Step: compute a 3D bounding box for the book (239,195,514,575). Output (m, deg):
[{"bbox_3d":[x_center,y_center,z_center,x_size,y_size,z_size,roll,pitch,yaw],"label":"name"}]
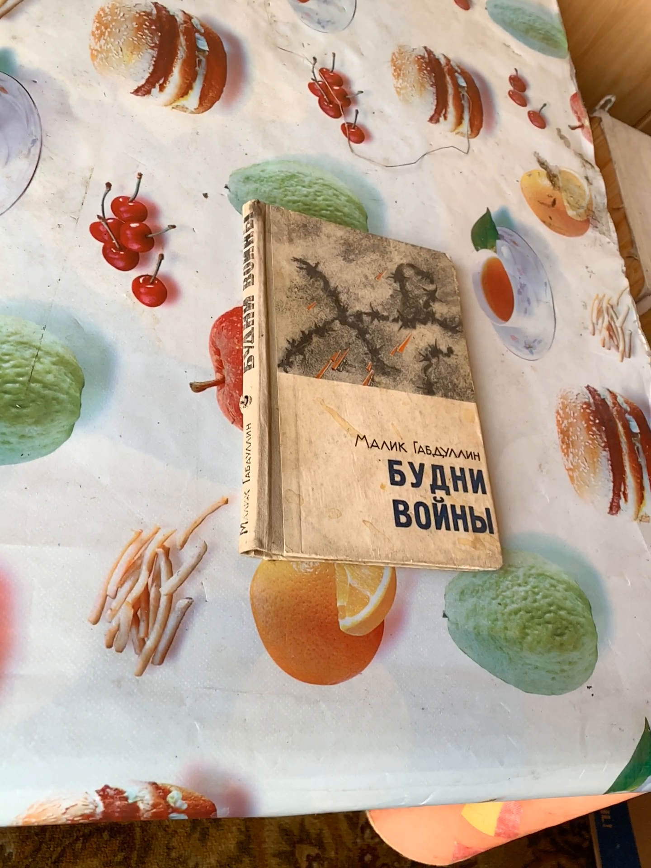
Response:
[{"bbox_3d":[0.023,-0.028,0.355,0.136,0.018,0.196,9,62,-23],"label":"book"}]
